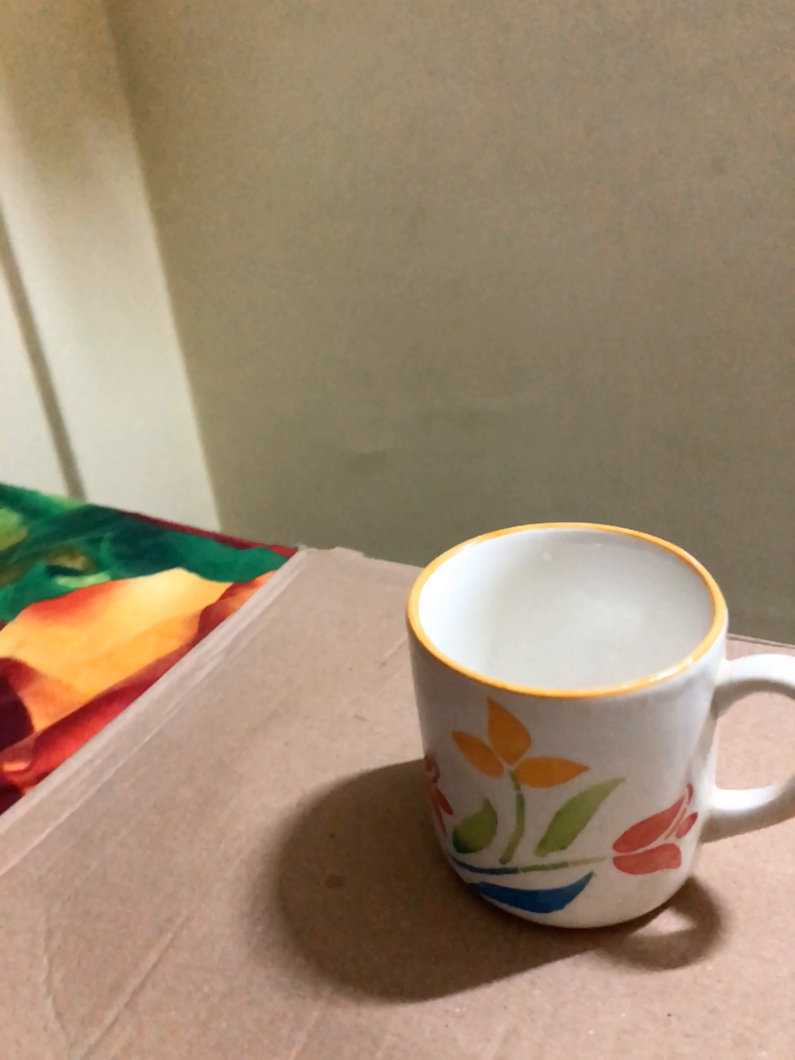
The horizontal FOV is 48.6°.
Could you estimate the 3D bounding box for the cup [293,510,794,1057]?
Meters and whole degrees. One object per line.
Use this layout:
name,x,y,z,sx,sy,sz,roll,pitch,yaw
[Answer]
cup,0.053,0.053,0.232,0.120,0.080,0.091,4,27,24
